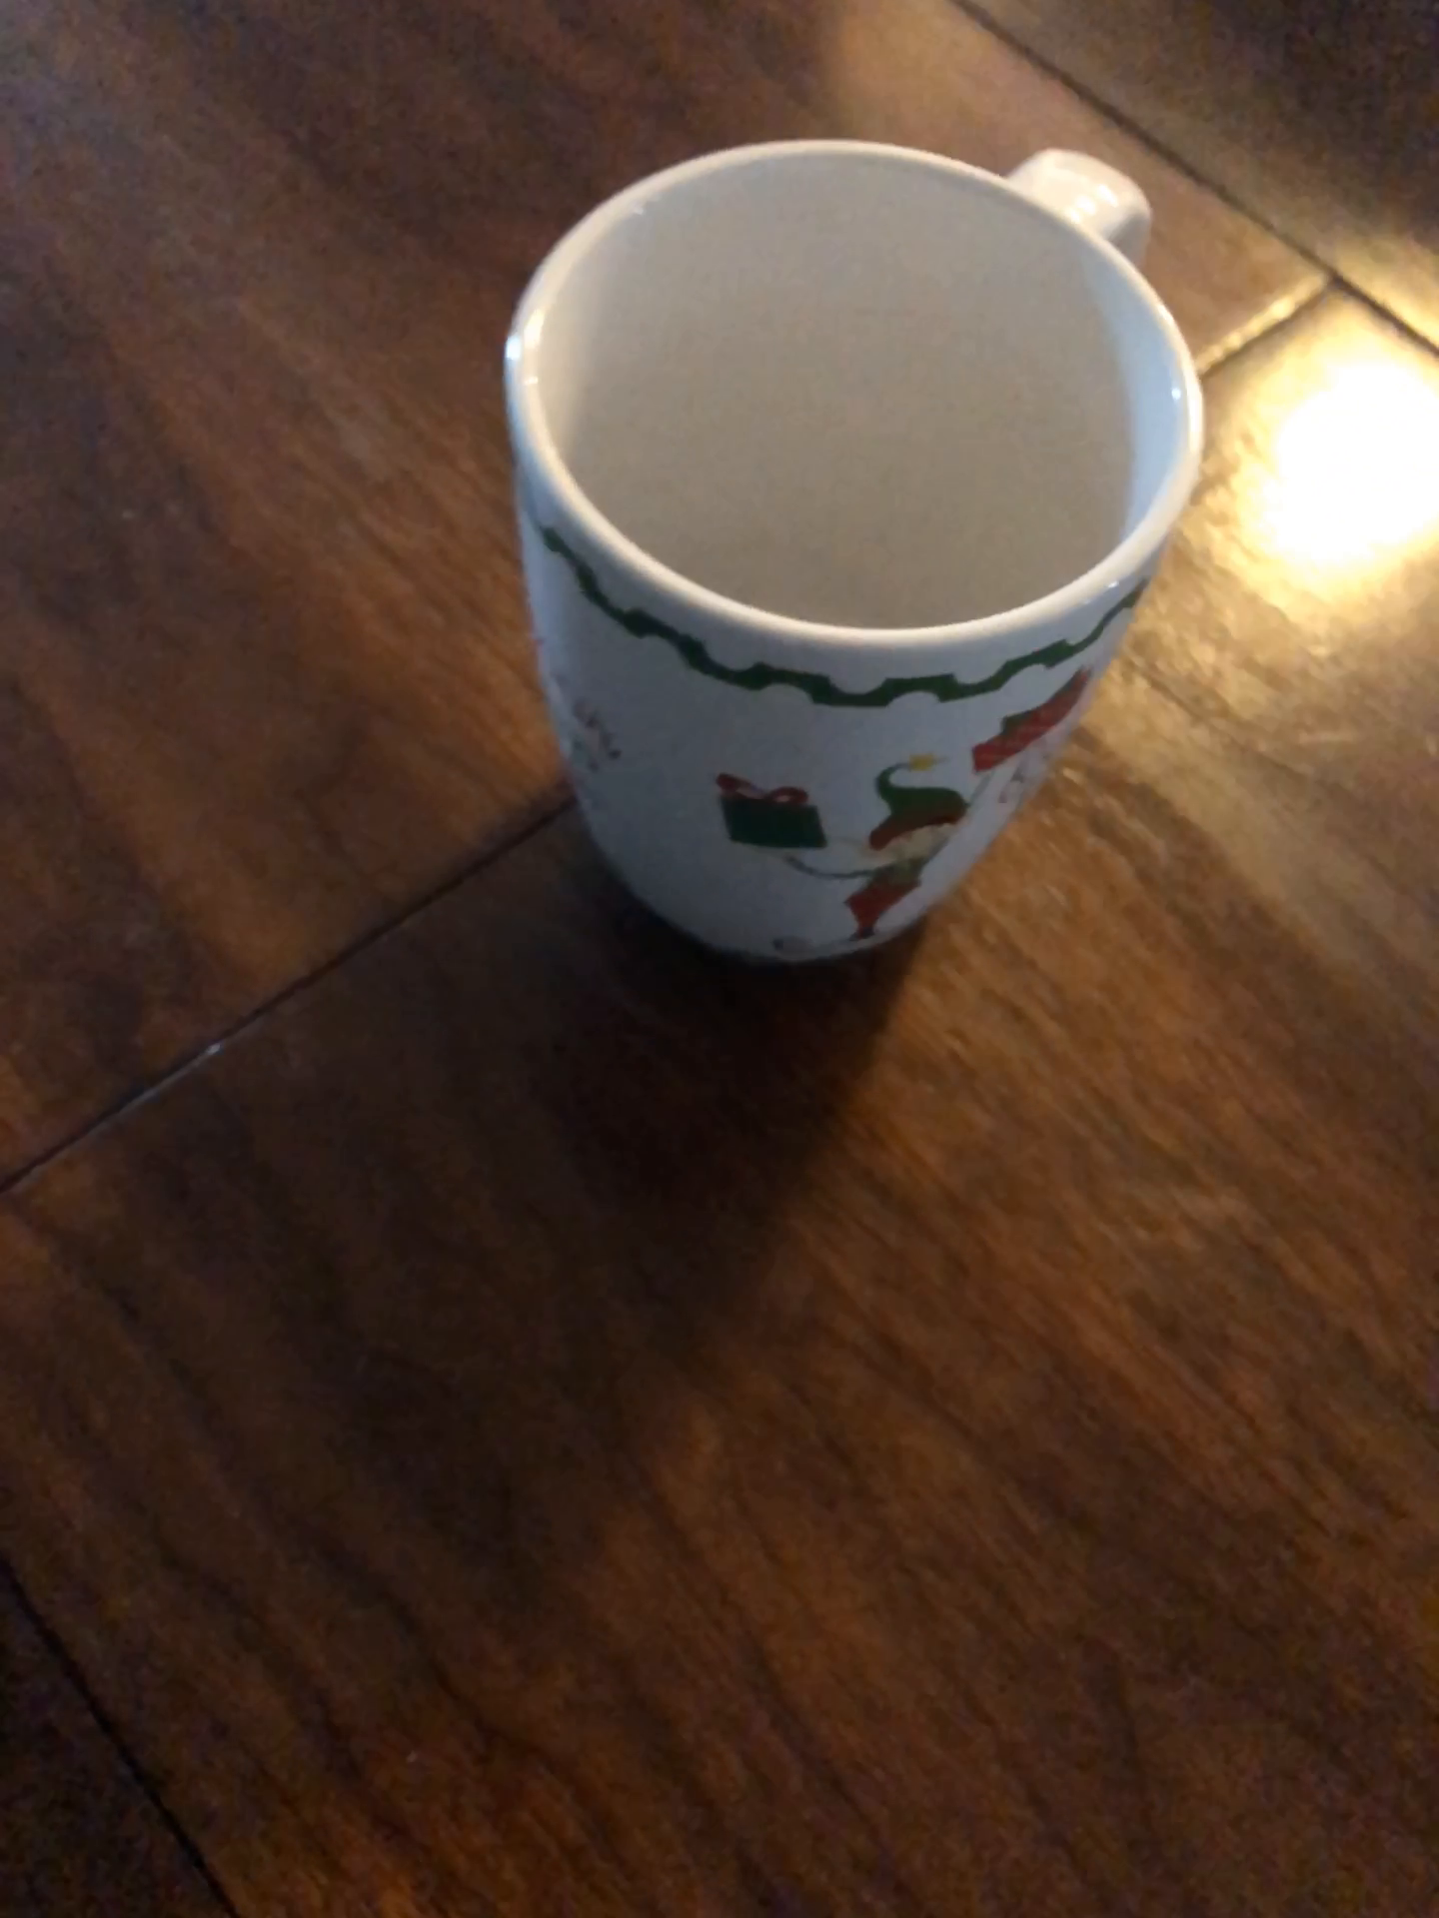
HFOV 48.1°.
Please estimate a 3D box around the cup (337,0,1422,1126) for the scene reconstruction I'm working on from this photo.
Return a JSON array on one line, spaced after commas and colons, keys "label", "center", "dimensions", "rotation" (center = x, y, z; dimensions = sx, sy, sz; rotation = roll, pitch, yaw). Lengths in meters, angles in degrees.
[{"label": "cup", "center": [0.029, -0.081, 0.312], "dimensions": [0.110, 0.120, 0.160], "rotation": [31, 65, 11]}]
